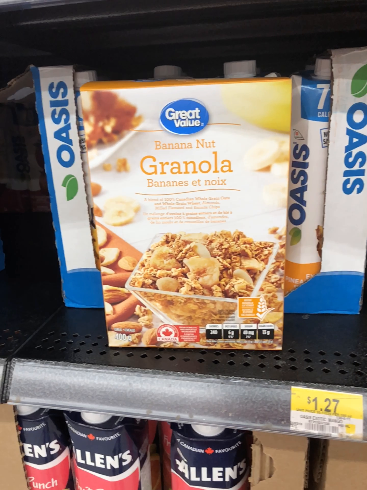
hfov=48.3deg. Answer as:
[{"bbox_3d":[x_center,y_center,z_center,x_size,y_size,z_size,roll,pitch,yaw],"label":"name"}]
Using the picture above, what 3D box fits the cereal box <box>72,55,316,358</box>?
[{"bbox_3d":[0.011,-0.024,0.328,0.160,0.219,0.060,0,17,6],"label":"cereal box"}]
